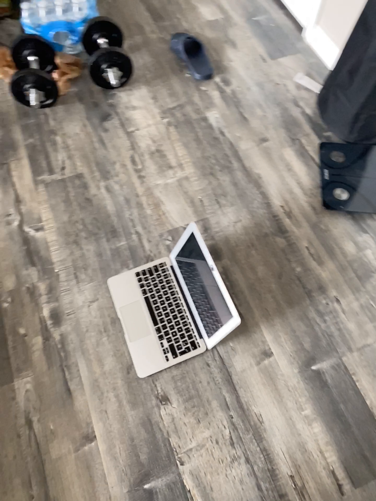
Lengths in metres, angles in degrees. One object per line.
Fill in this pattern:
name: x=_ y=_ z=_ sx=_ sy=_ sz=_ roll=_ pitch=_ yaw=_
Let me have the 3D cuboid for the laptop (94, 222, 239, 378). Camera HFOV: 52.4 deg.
laptop: x=-0.058 y=0.122 z=0.968 sx=0.254 sy=0.159 sz=0.290 roll=-19 pitch=64 yaw=-12
